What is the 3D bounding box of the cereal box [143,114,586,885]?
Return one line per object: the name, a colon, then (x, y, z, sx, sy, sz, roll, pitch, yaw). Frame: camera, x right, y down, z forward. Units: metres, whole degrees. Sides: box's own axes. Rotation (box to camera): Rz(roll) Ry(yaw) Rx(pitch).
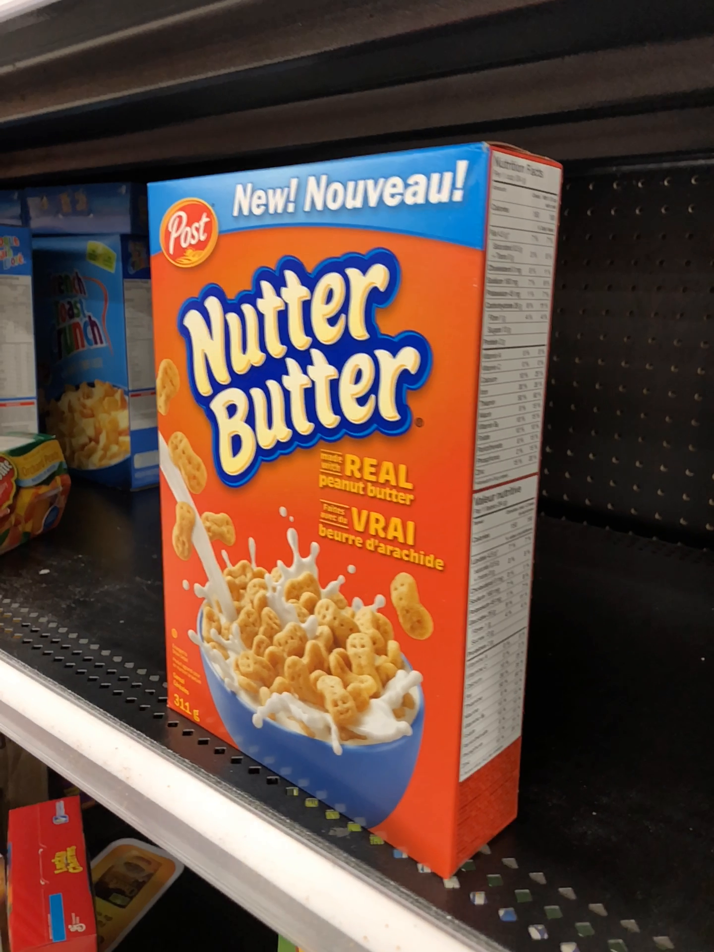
cereal box: (-0.013, 0.001, 0.365, 0.200, 0.279, 0.060, 13, 16, 41)
